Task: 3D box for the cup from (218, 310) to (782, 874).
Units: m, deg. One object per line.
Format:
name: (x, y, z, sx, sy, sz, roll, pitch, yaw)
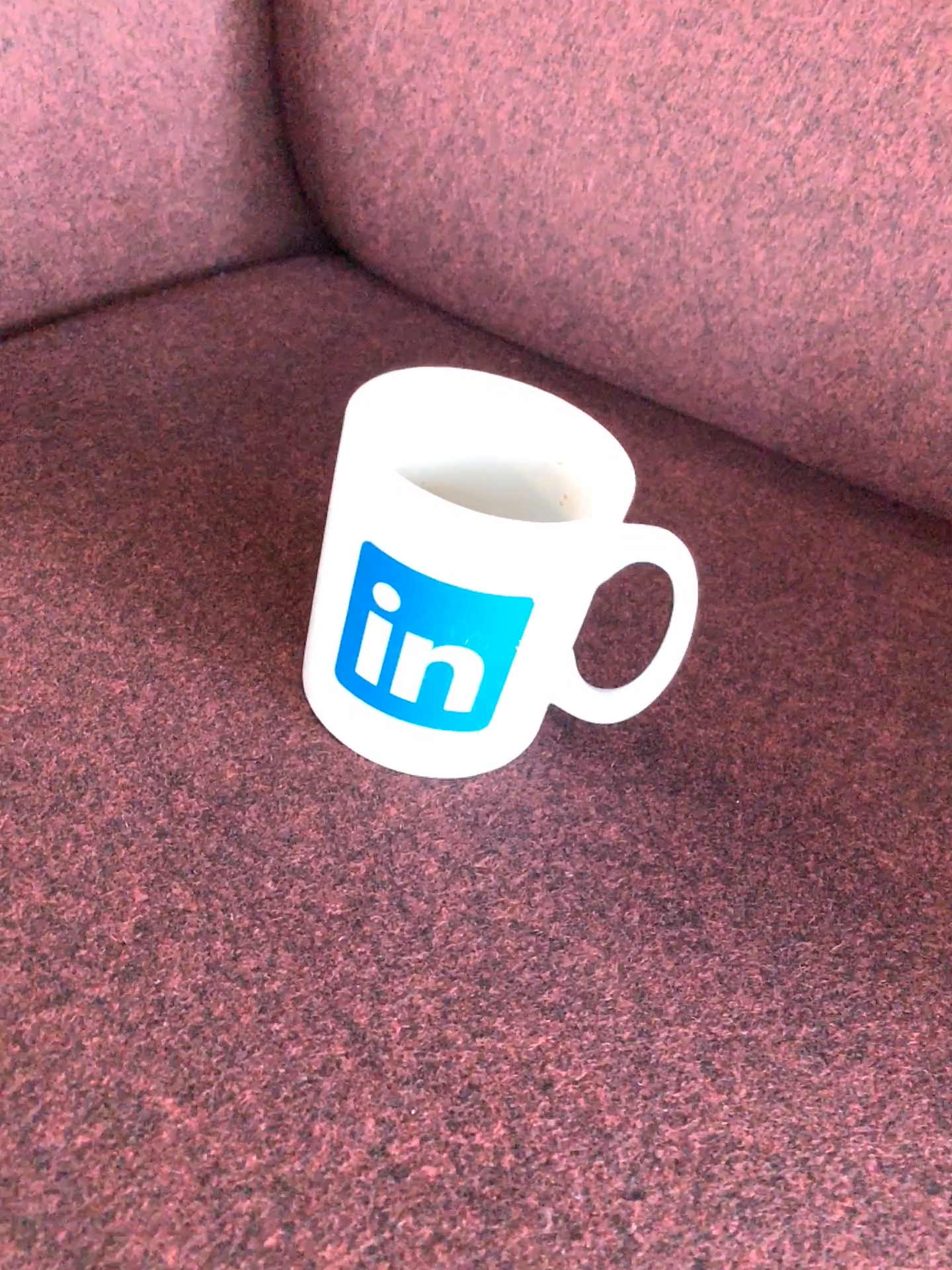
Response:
cup: (0.006, -0.017, 0.280, 0.120, 0.089, 0.091, 23, 39, 11)
